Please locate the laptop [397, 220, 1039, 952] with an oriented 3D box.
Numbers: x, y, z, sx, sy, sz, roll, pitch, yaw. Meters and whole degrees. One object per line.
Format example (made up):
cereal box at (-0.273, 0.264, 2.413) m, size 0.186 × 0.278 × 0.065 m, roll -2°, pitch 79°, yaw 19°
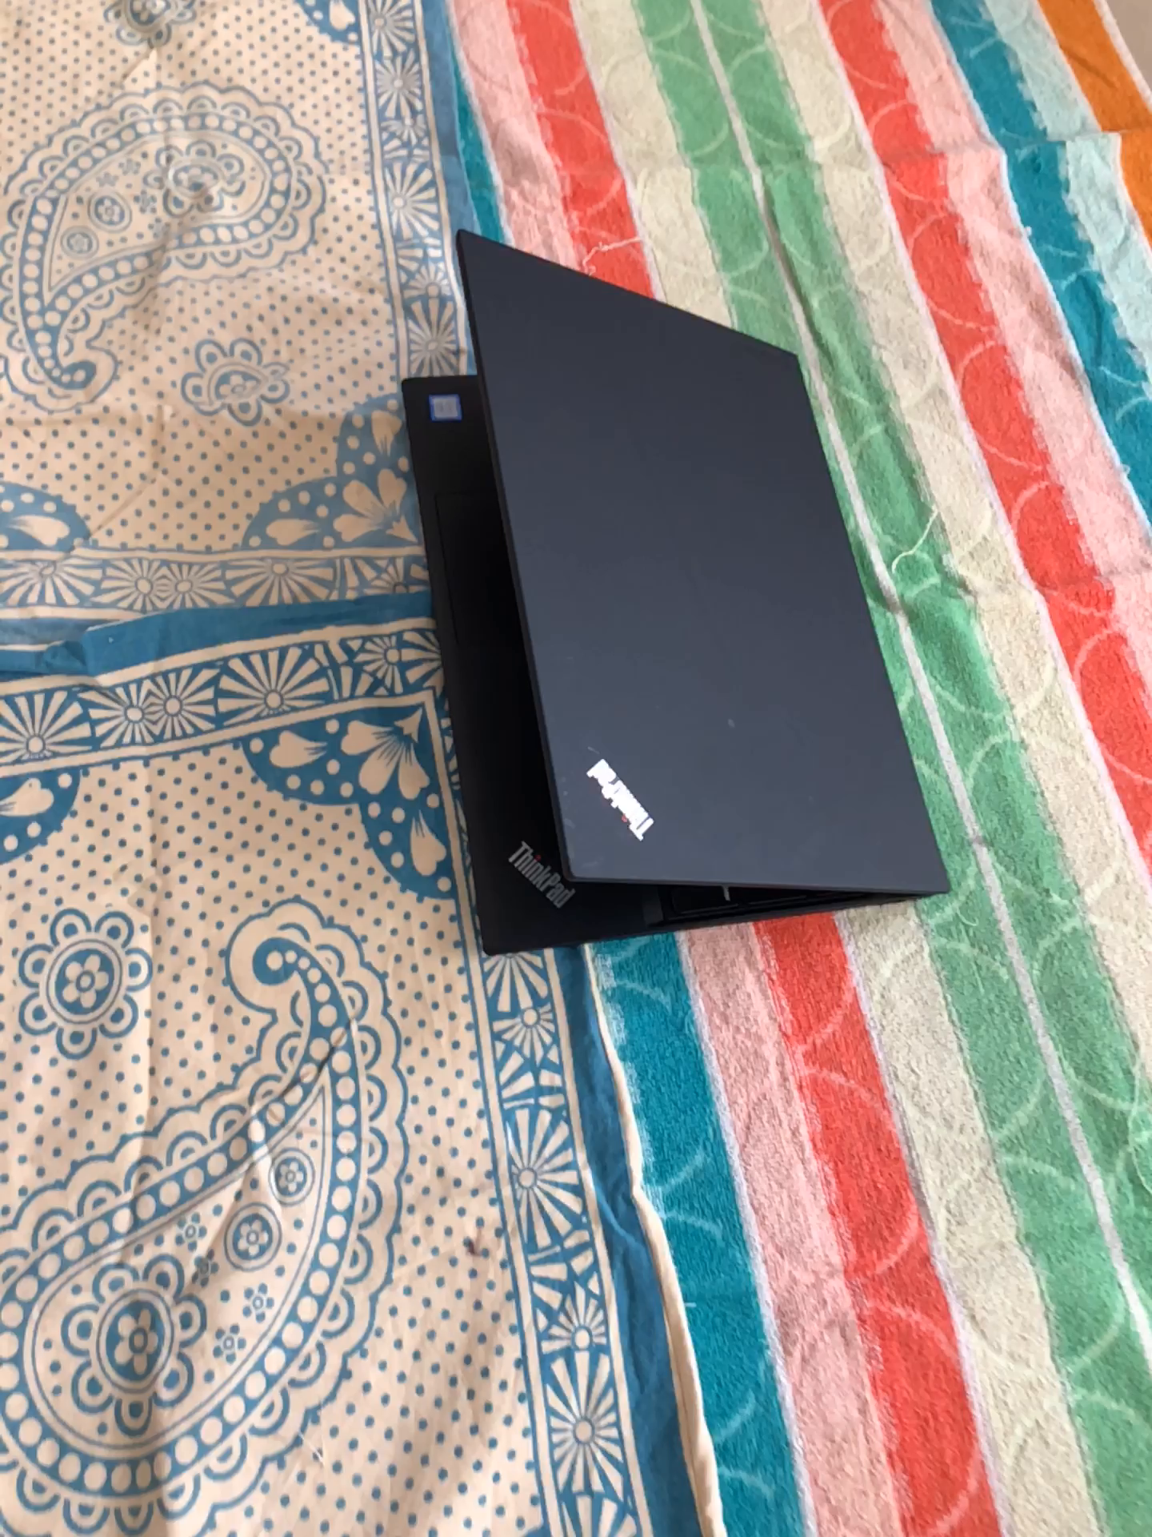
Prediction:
laptop at (0.054, -0.103, 0.664) m, size 0.243 × 0.121 × 0.346 m, roll -7°, pitch 70°, yaw -11°
